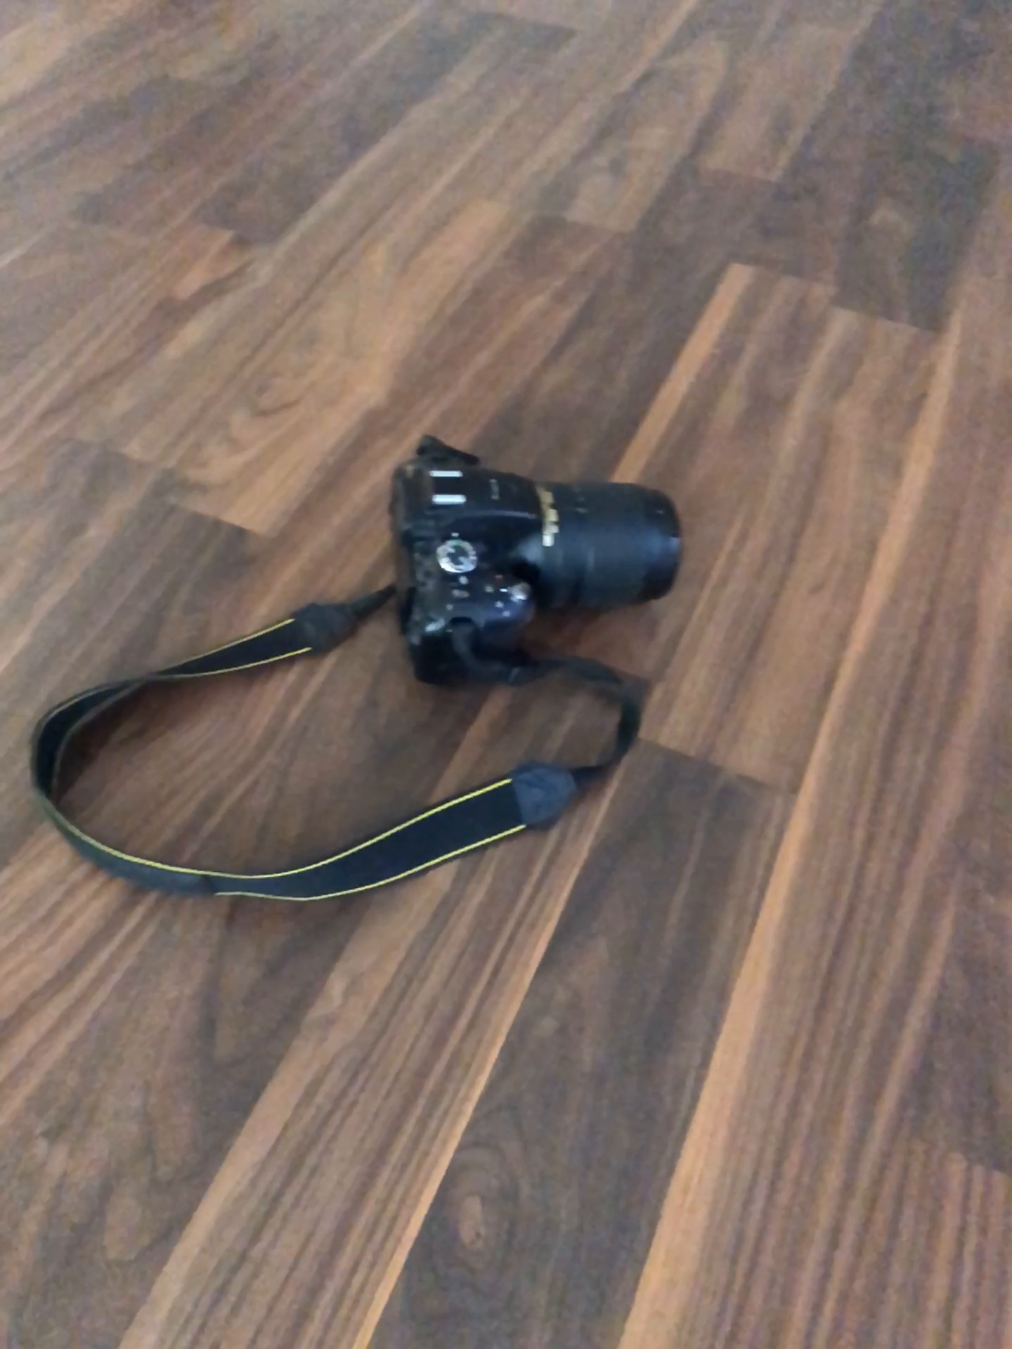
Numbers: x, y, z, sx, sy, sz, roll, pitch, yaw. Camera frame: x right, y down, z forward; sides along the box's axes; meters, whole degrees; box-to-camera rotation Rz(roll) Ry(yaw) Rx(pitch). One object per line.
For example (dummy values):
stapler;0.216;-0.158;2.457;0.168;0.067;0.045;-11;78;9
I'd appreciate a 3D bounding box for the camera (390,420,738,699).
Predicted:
camera;0.025;-0.065;0.603;0.160;0.070;0.120;-7;51;-6
